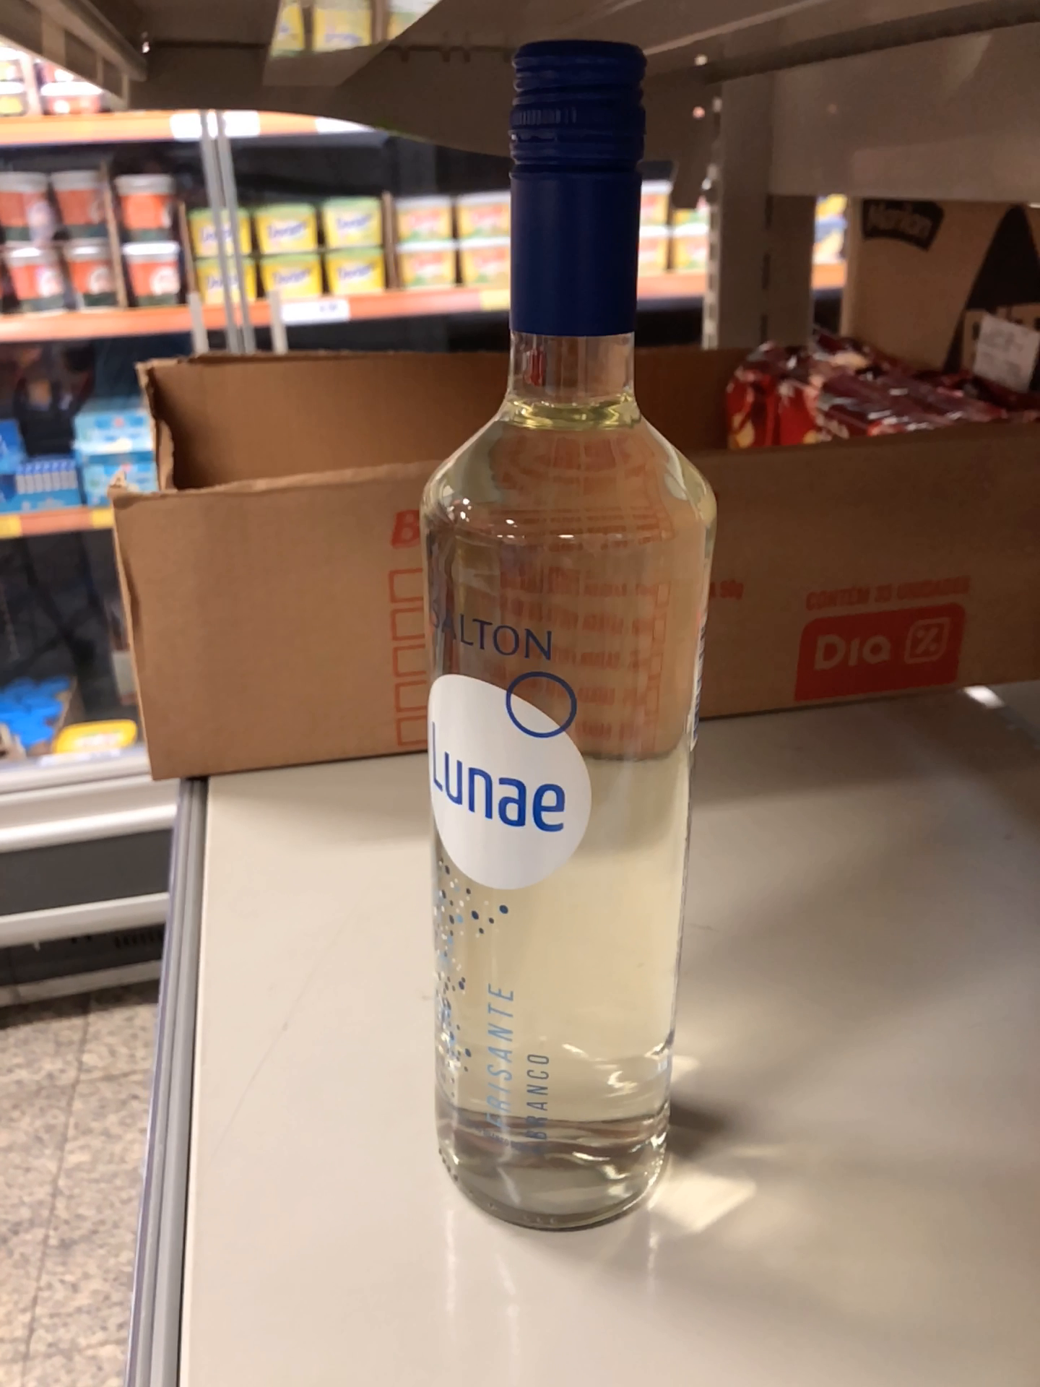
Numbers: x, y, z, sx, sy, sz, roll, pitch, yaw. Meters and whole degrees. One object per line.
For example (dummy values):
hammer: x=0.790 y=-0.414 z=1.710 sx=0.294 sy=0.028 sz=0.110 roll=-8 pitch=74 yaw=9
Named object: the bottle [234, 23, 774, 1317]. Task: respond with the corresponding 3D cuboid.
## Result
bottle: x=0.006 y=0.006 z=0.305 sx=0.080 sy=0.308 sz=0.080 roll=-3 pitch=24 yaw=1
